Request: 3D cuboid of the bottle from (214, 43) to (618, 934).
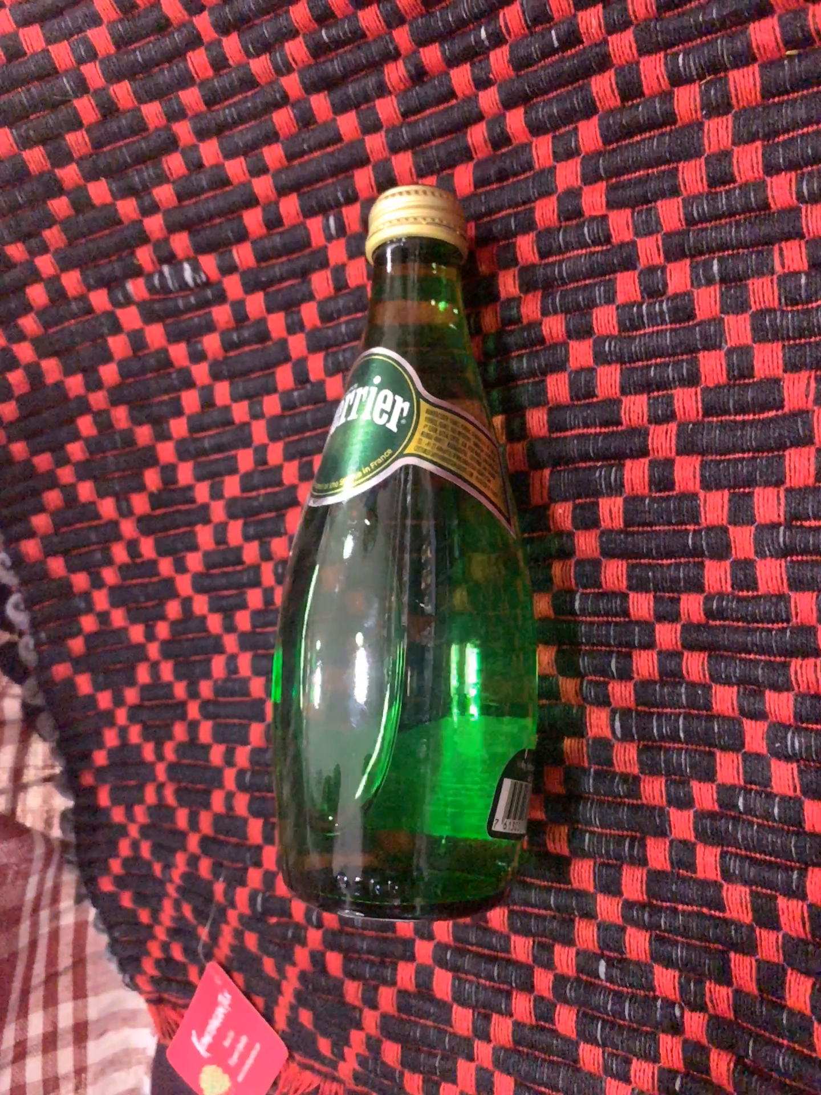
[{"bbox_3d":[0.003,-0.011,0.220,0.070,0.070,0.180,-5,81,46],"label":"bottle"}]
